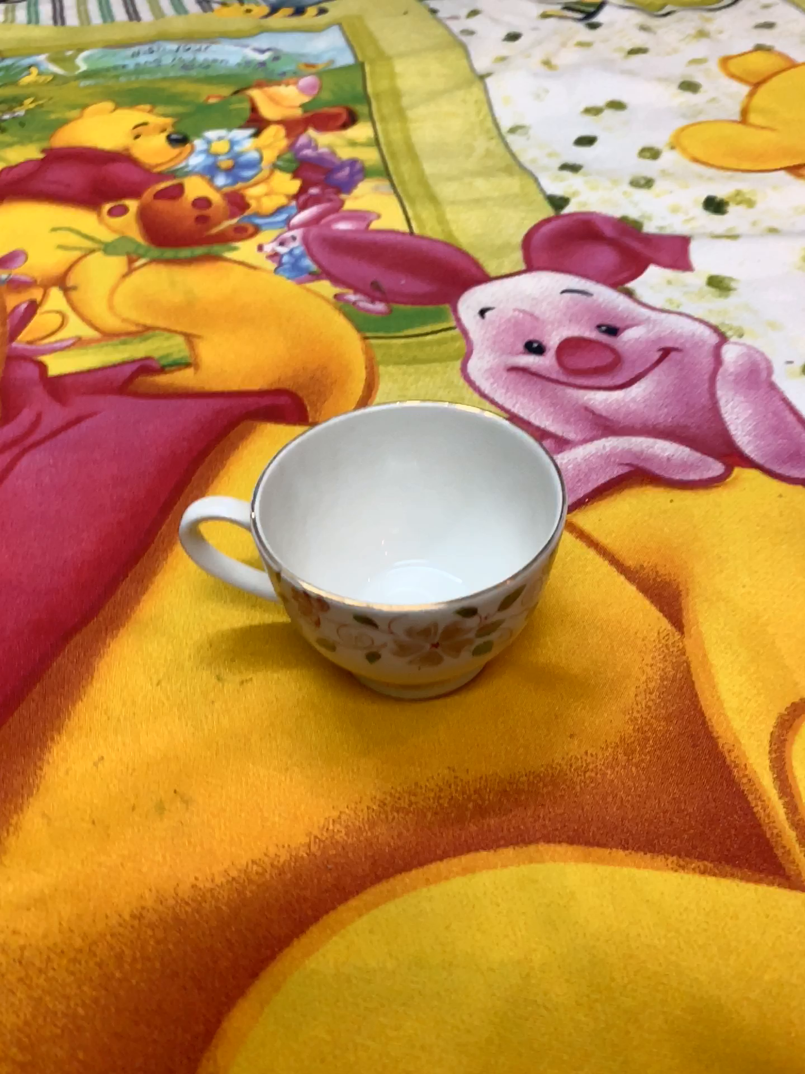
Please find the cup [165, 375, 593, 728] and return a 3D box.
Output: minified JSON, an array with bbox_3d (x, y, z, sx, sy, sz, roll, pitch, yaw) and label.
[{"bbox_3d":[-0.001,0.003,0.242,0.100,0.060,0.081,0,46,7],"label":"cup"}]
